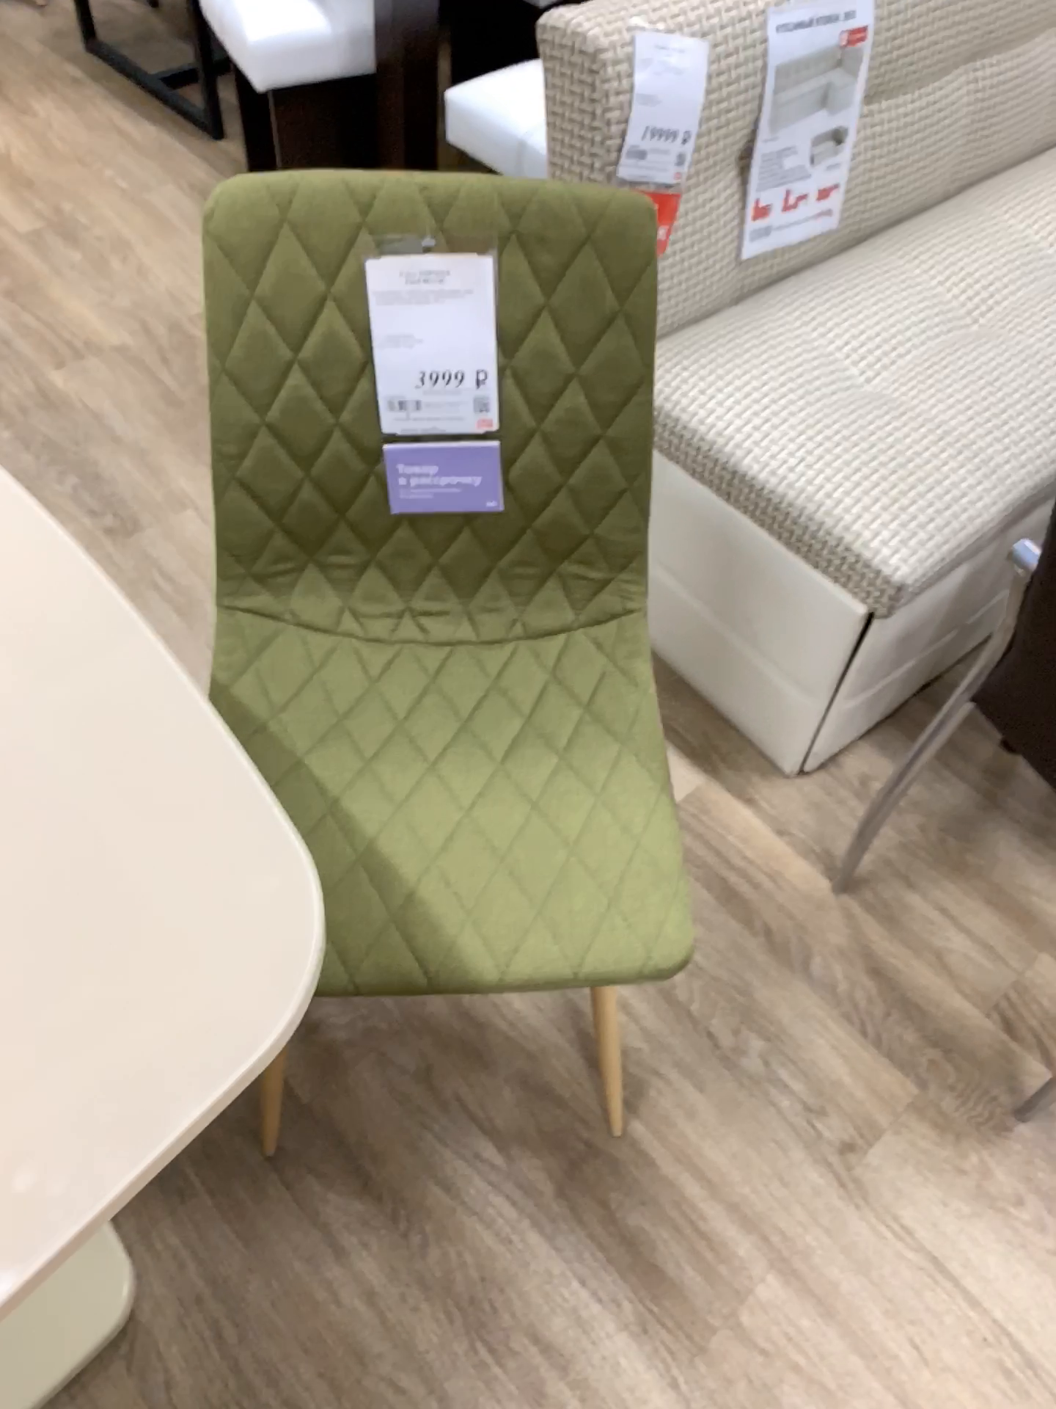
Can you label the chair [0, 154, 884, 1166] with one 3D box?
[{"bbox_3d":[-0.098,0.027,1.067,0.500,0.836,0.563,-1,52,-5],"label":"chair"}]
